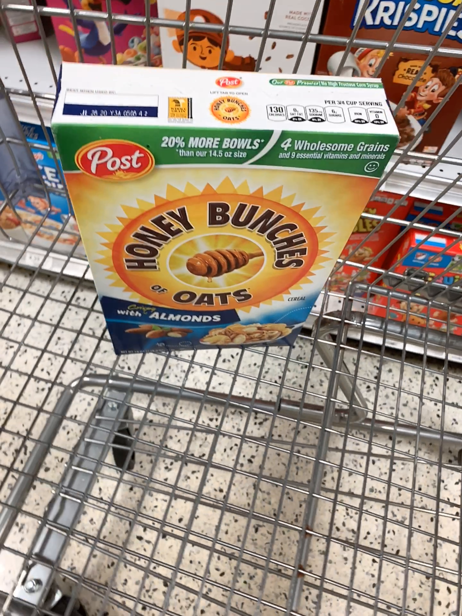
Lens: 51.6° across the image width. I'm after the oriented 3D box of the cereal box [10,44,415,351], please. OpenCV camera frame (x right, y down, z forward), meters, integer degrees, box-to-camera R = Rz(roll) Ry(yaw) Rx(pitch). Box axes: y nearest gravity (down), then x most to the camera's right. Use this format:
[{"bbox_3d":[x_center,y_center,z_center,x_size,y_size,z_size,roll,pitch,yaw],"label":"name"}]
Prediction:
[{"bbox_3d":[-0.016,-0.051,0.398,0.210,0.308,0.060,0,63,-4],"label":"cereal box"}]
